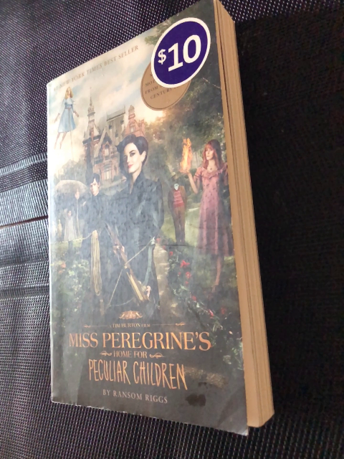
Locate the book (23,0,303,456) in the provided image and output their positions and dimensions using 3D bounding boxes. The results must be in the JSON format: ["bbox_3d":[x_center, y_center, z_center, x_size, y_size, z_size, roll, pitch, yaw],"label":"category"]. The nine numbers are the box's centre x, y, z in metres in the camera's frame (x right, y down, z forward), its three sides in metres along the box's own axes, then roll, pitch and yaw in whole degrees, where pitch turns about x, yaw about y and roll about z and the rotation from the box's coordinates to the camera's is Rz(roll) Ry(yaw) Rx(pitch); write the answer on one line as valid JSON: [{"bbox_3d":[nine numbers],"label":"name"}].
[{"bbox_3d":[-0.021,-0.007,0.238,0.161,0.050,0.230,-10,79,32],"label":"book"}]
